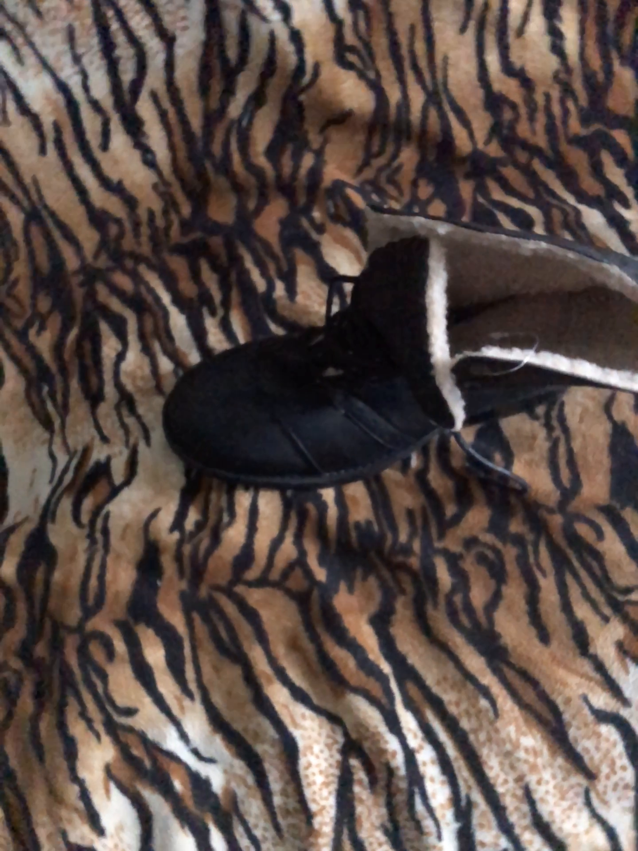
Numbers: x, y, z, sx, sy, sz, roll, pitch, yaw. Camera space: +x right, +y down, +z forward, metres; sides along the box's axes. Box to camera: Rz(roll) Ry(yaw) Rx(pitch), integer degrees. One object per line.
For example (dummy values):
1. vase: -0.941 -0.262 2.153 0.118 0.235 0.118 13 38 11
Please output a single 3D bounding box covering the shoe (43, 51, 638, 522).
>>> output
1. shoe: 0.033 -0.062 0.452 0.330 0.200 0.140 -13 69 4
